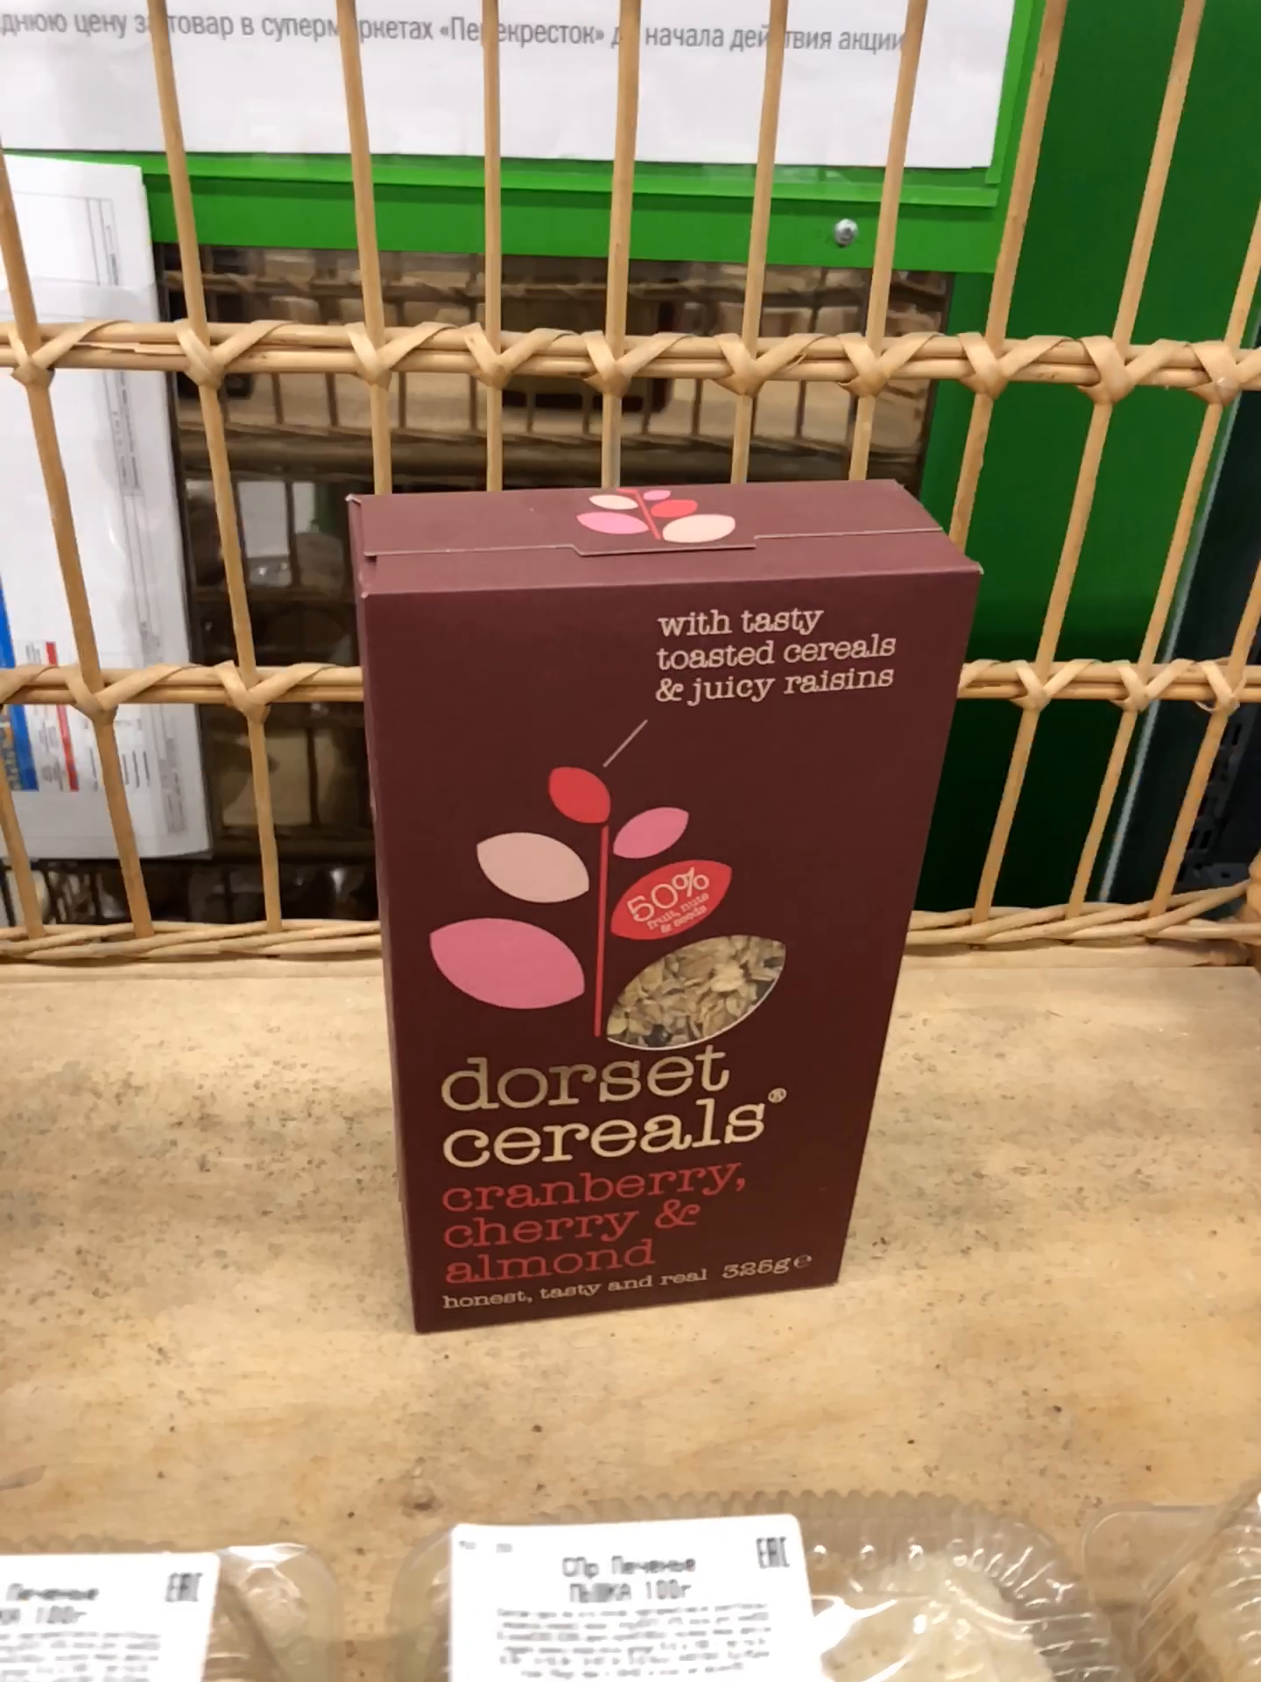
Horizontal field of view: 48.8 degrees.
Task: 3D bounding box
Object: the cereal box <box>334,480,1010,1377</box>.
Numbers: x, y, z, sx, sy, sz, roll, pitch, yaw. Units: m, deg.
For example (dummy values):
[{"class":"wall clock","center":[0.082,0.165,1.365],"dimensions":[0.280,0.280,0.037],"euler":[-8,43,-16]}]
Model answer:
[{"class":"cereal box","center":[0.001,0.029,0.320],"dimensions":[0.120,0.209,0.050],"euler":[-4,34,-10]}]
